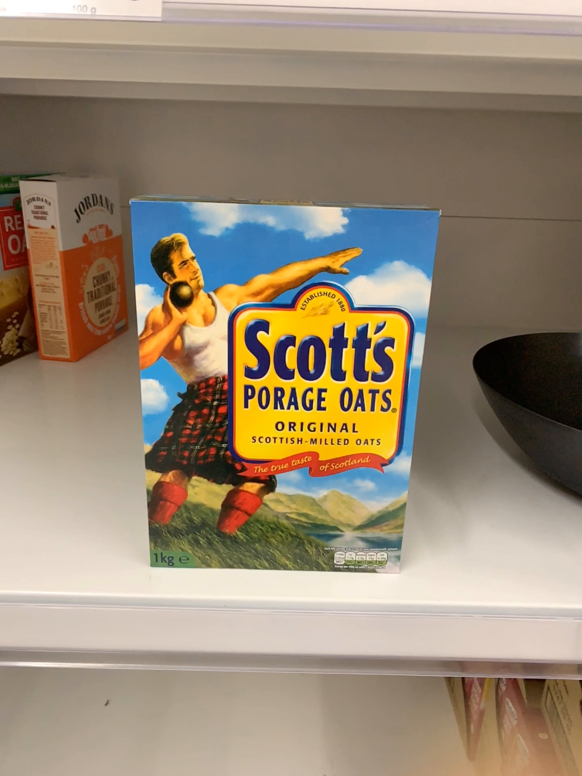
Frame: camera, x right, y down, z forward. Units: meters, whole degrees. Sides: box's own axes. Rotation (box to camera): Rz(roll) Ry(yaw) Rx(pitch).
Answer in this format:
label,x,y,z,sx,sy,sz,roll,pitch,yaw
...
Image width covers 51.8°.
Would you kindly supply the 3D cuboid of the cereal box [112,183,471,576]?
label,x,y,z,sx,sy,sz,roll,pitch,yaw
cereal box,-0.003,-0.001,0.431,0.210,0.268,0.071,2,21,0
